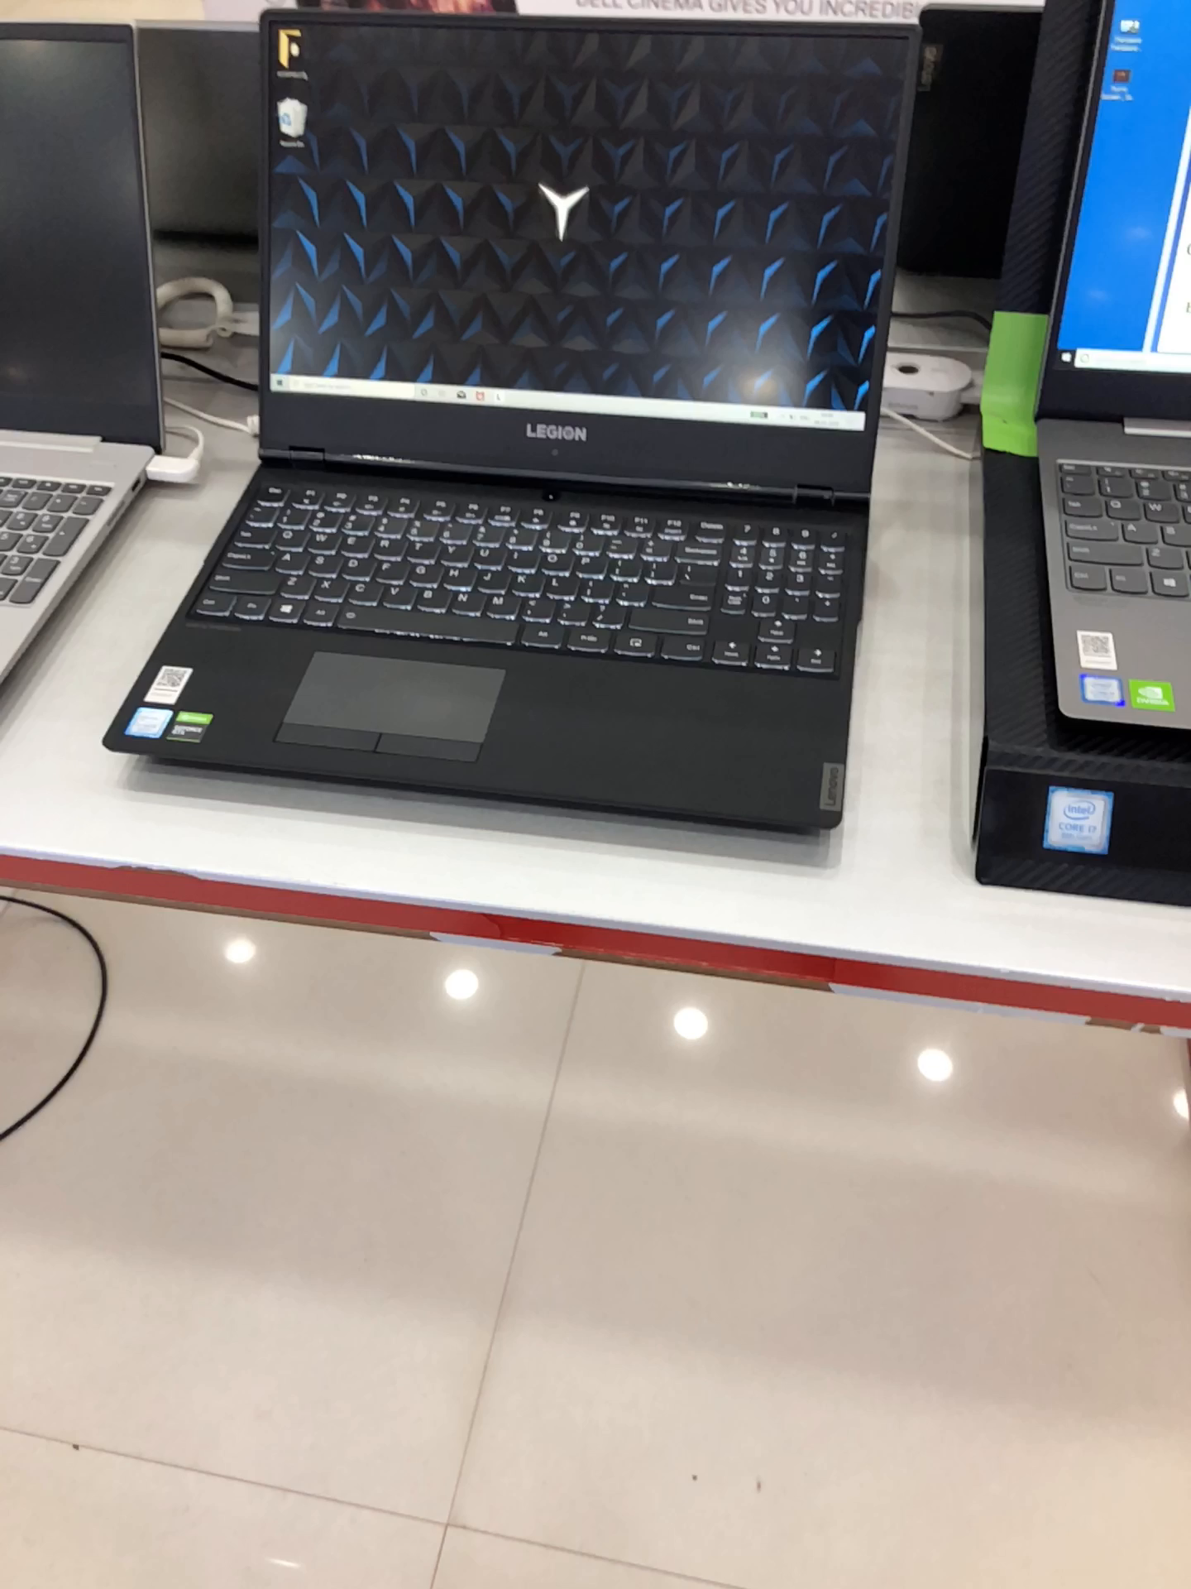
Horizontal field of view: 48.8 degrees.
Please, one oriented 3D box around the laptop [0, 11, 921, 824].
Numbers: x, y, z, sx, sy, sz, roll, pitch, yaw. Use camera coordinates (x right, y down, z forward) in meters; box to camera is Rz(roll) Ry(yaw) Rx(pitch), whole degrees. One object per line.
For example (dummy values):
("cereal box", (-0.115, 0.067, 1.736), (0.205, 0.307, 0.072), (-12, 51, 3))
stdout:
("laptop", (-0.032, -0.199, 0.626), (0.333, 0.191, 0.349), (6, 50, 8))
